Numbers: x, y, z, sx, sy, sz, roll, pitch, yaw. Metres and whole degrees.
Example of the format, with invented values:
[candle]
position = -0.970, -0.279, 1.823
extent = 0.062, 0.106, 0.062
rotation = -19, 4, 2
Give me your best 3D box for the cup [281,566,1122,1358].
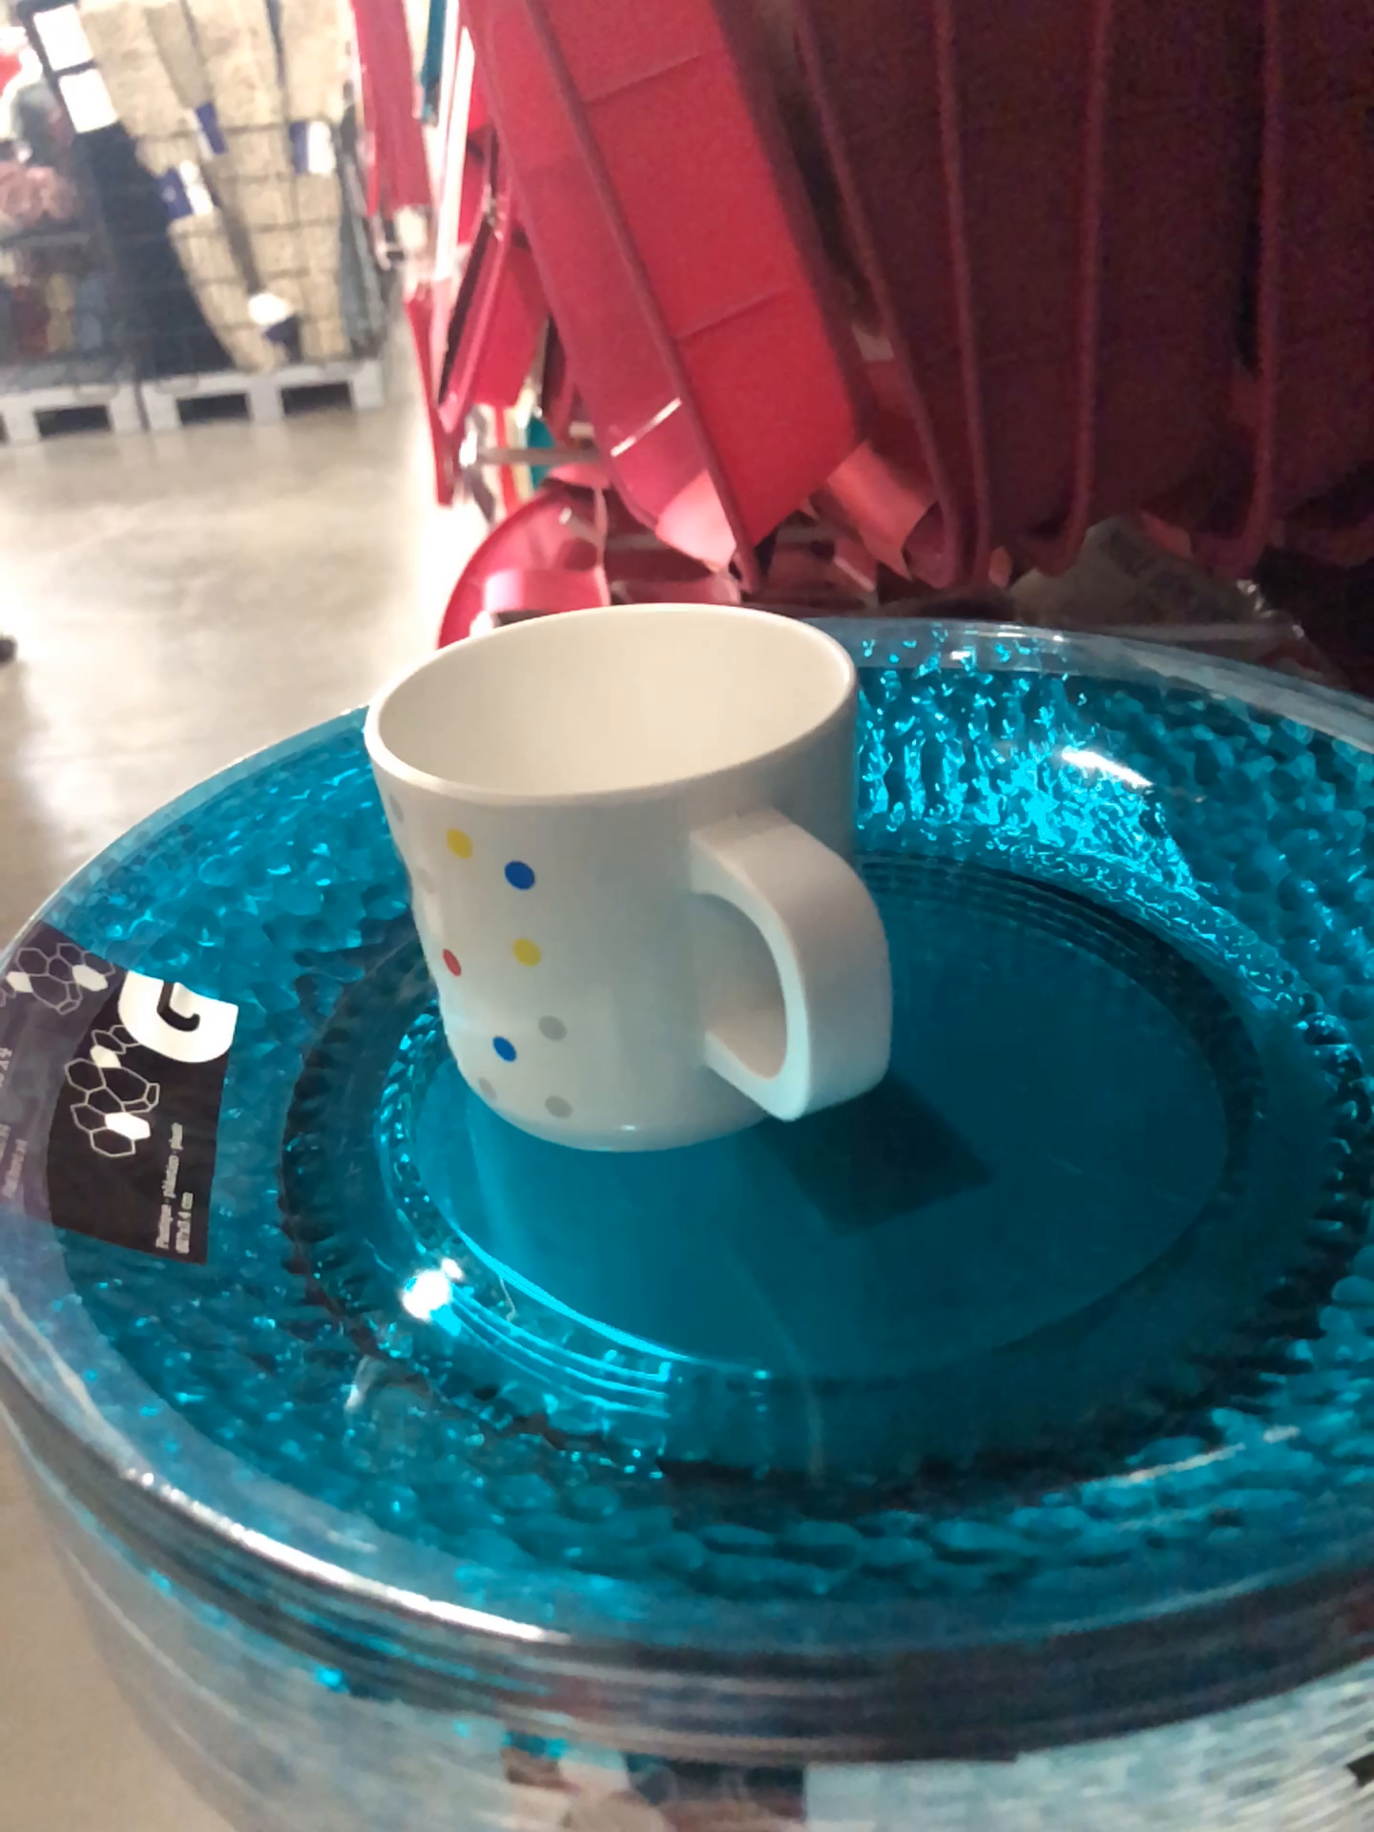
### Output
[cup]
position = -0.003, -0.004, 0.237
extent = 0.081, 0.059, 0.109
rotation = -19, 33, -22
